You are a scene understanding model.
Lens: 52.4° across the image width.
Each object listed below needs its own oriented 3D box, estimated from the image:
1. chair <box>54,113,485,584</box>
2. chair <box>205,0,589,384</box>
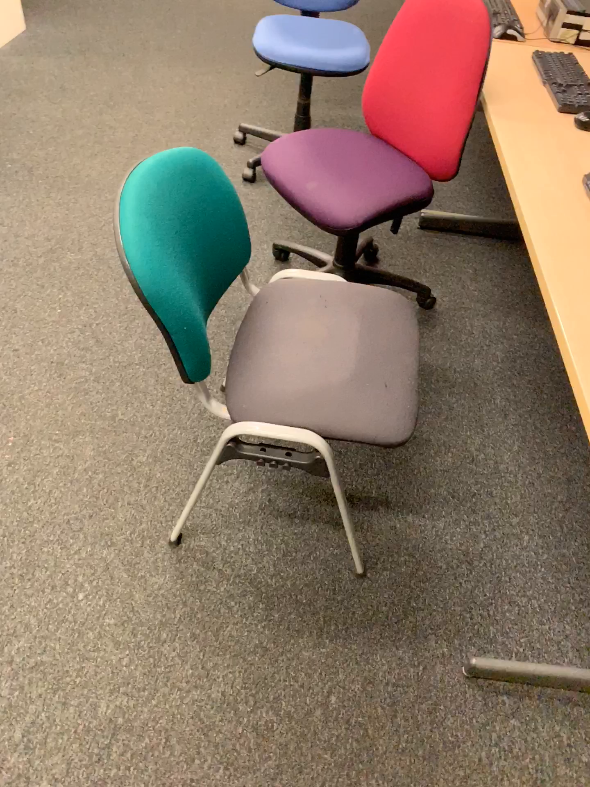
[{"bbox_3d":[-0.035,-0.074,1.270,0.598,0.721,0.557,10,46,2],"label":"chair"},{"bbox_3d":[0.202,-0.656,1.754,0.670,0.860,0.656,-26,55,-28],"label":"chair"}]
